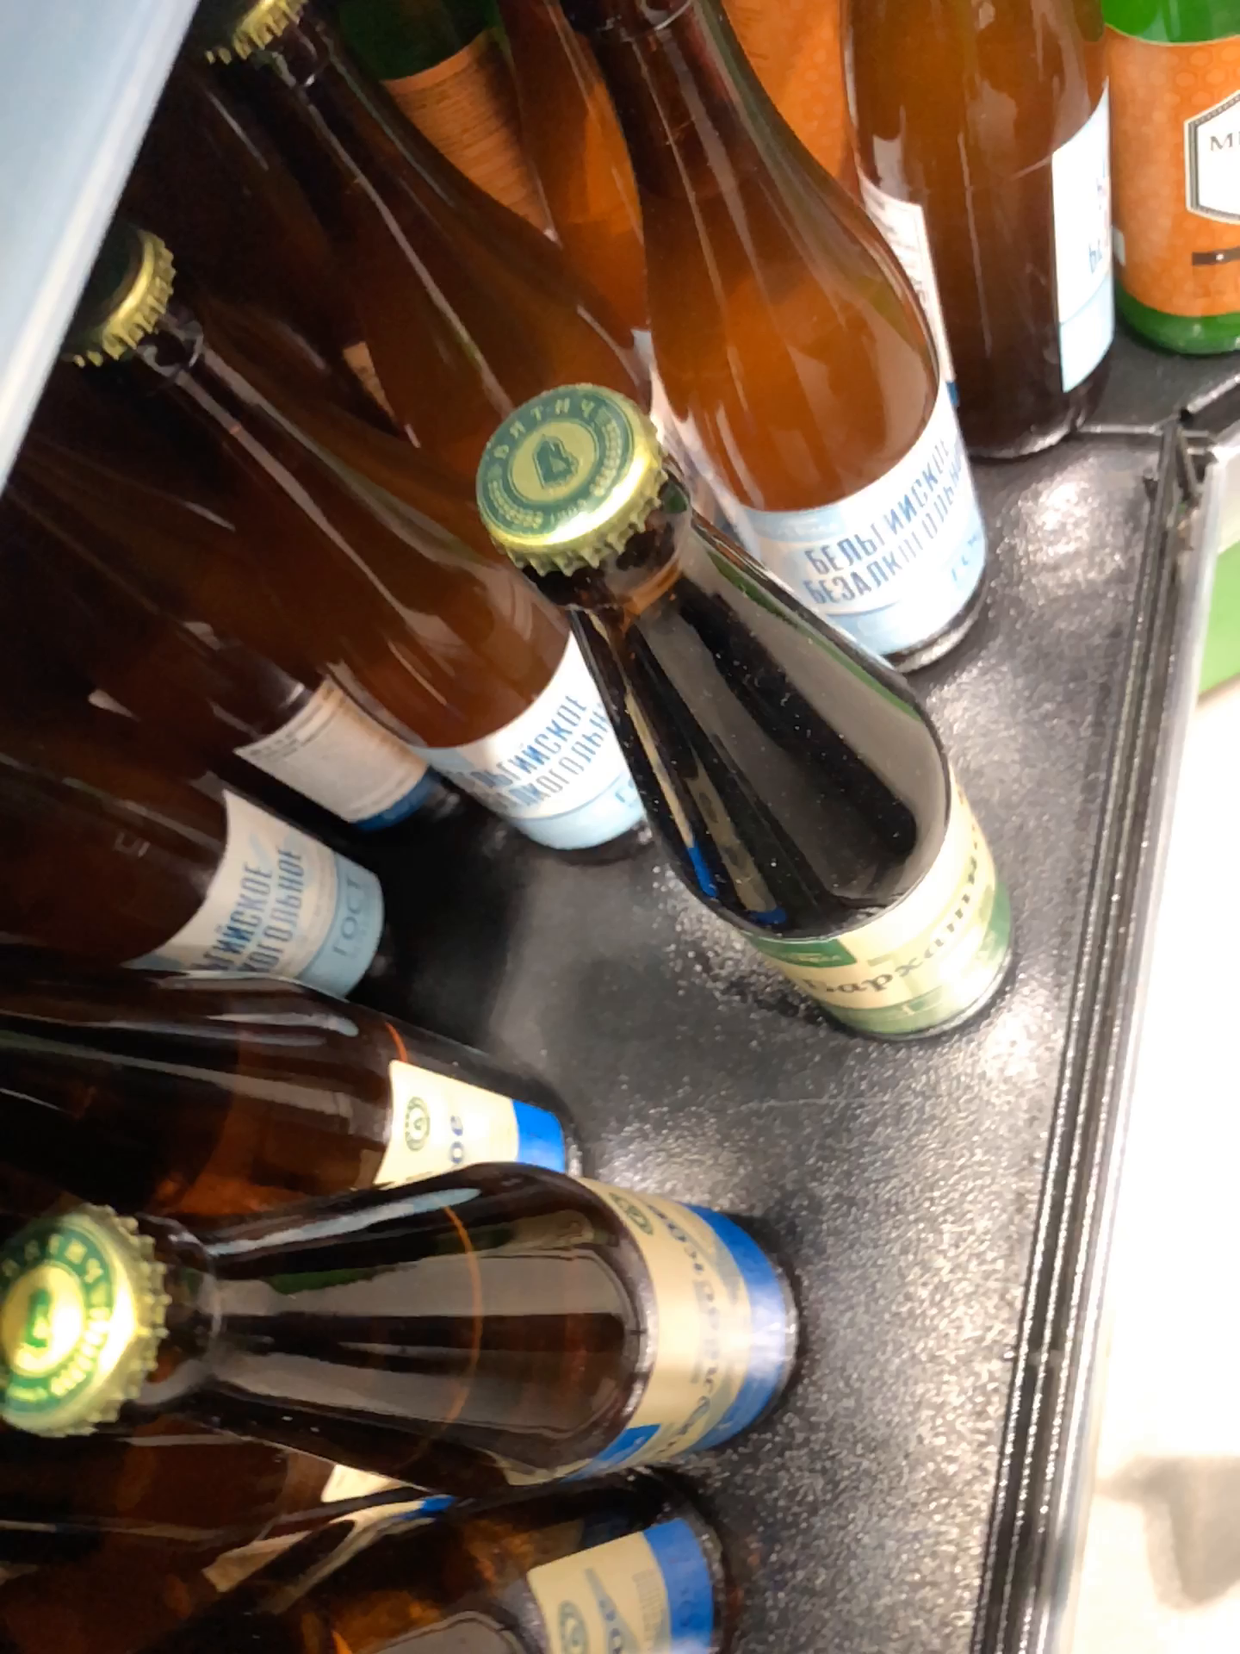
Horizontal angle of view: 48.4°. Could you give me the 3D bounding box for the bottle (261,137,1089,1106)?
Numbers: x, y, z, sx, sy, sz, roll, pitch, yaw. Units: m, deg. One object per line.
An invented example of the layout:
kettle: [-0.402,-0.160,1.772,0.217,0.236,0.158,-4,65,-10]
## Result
bottle: [0.039,-0.012,0.300,0.080,0.249,0.070,-44,61,2]
